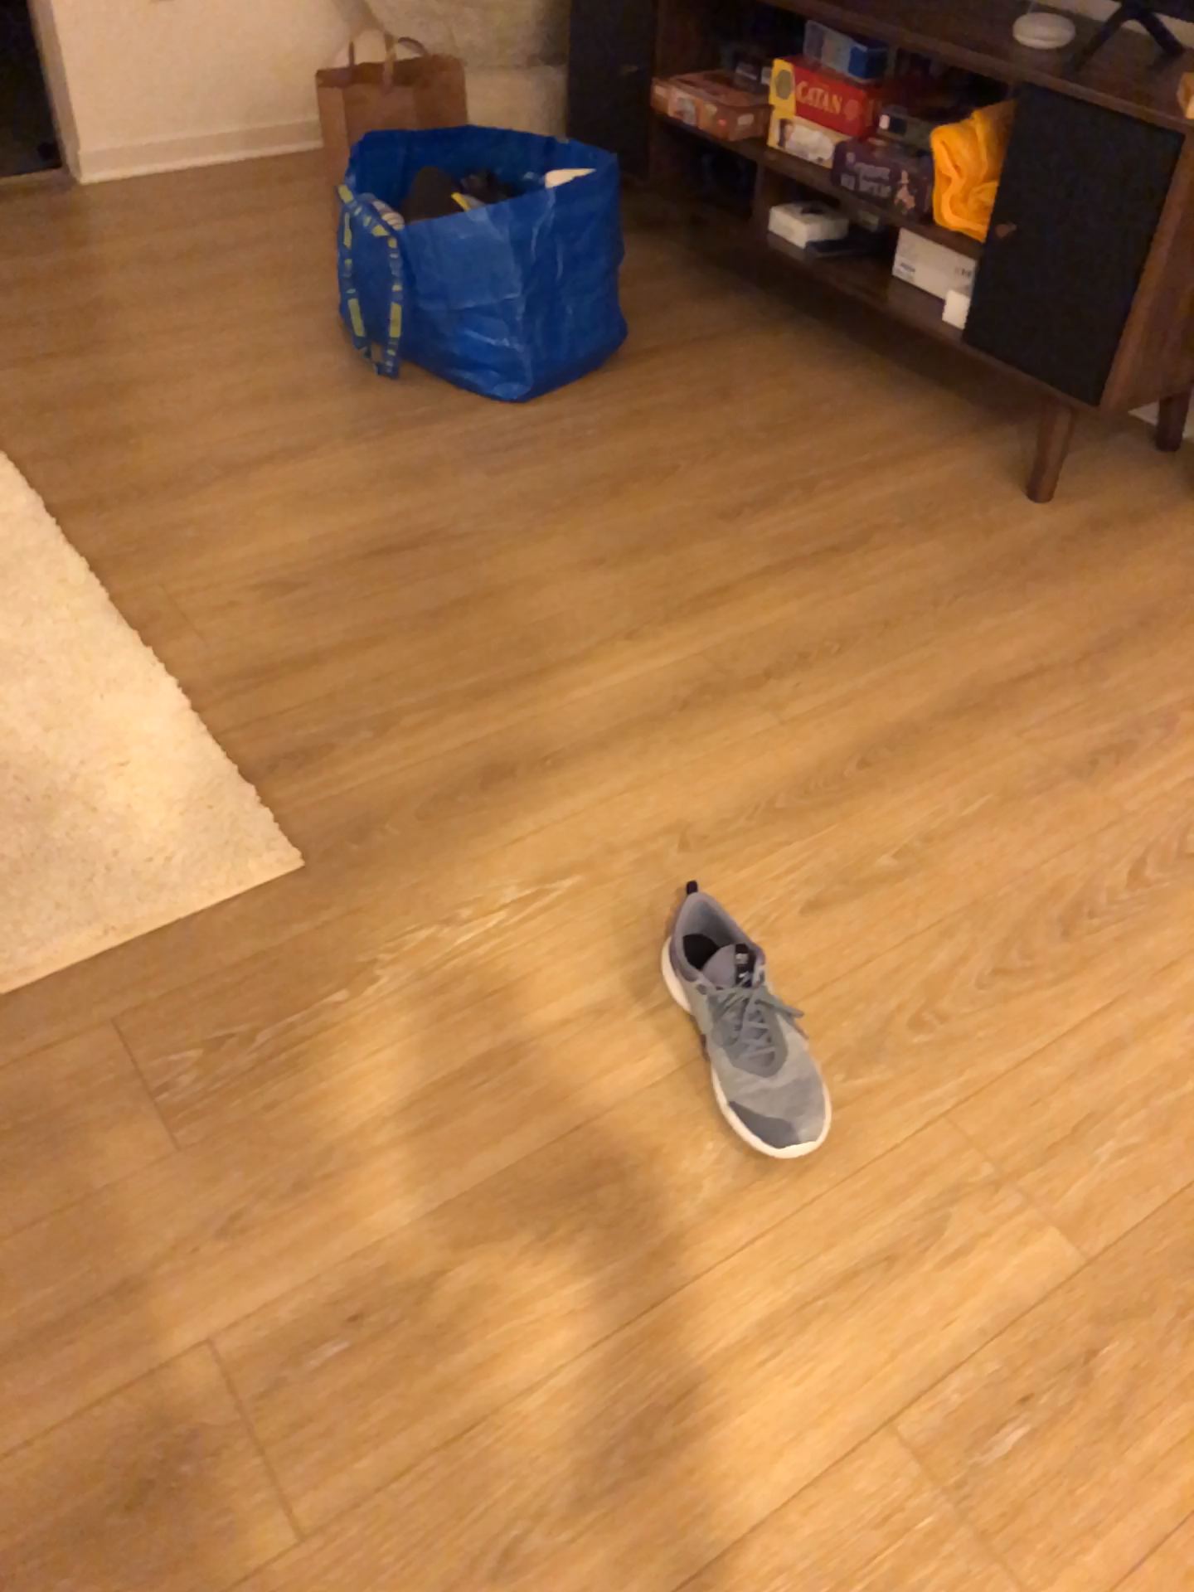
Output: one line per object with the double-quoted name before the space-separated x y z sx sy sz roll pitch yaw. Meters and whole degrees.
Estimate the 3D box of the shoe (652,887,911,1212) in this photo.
"shoe" 0.170 0.239 1.292 0.140 0.089 0.301 -10 43 -14
